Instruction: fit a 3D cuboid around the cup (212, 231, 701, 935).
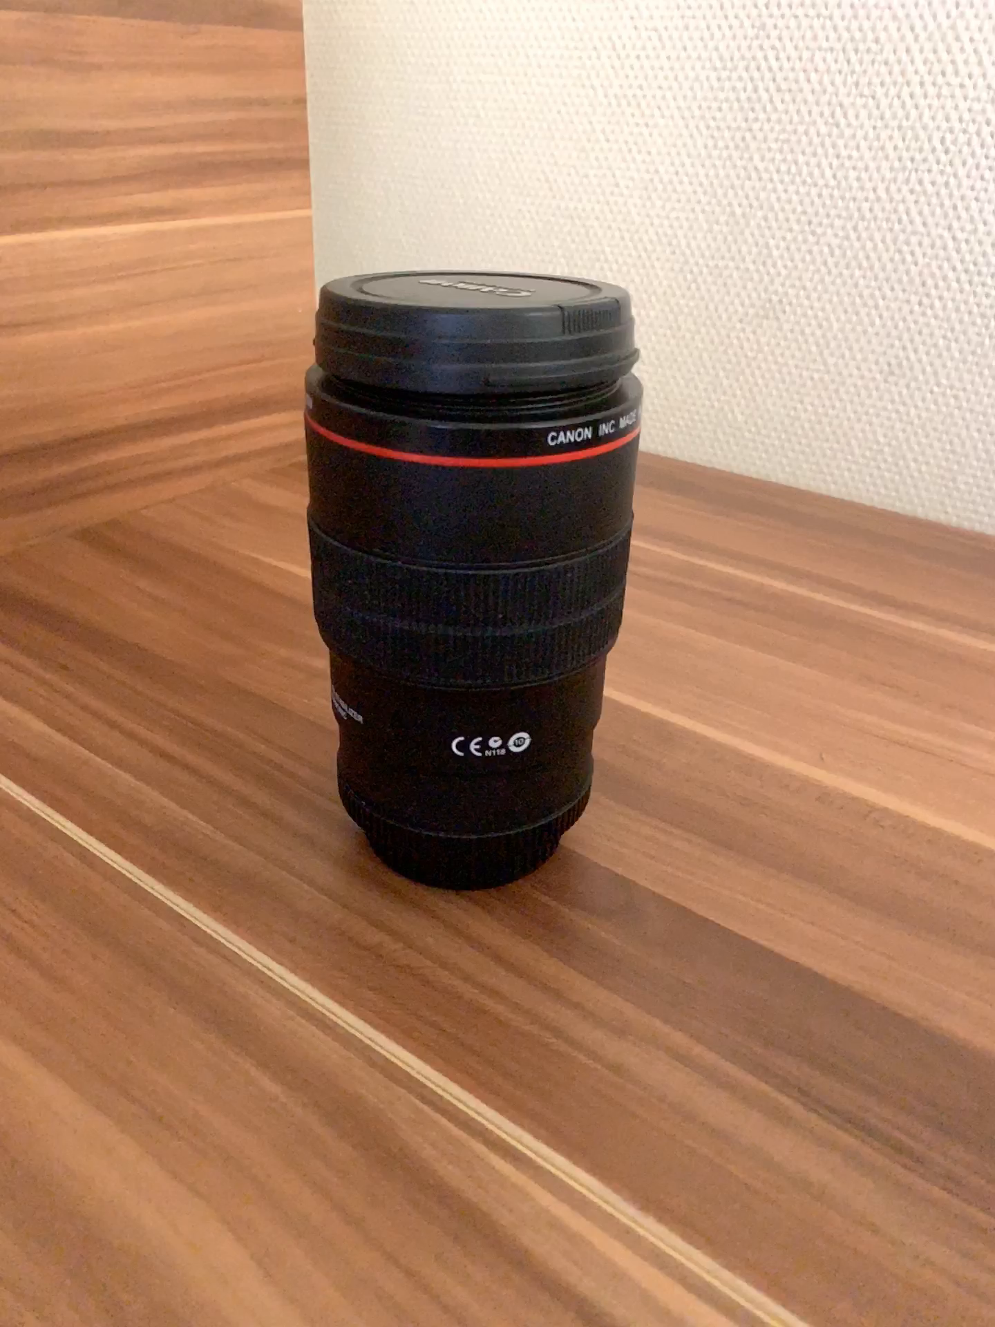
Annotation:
[{"bbox_3d":[-0.007,-0.022,0.246,0.080,0.139,0.070,12,31,17],"label":"cup"}]
